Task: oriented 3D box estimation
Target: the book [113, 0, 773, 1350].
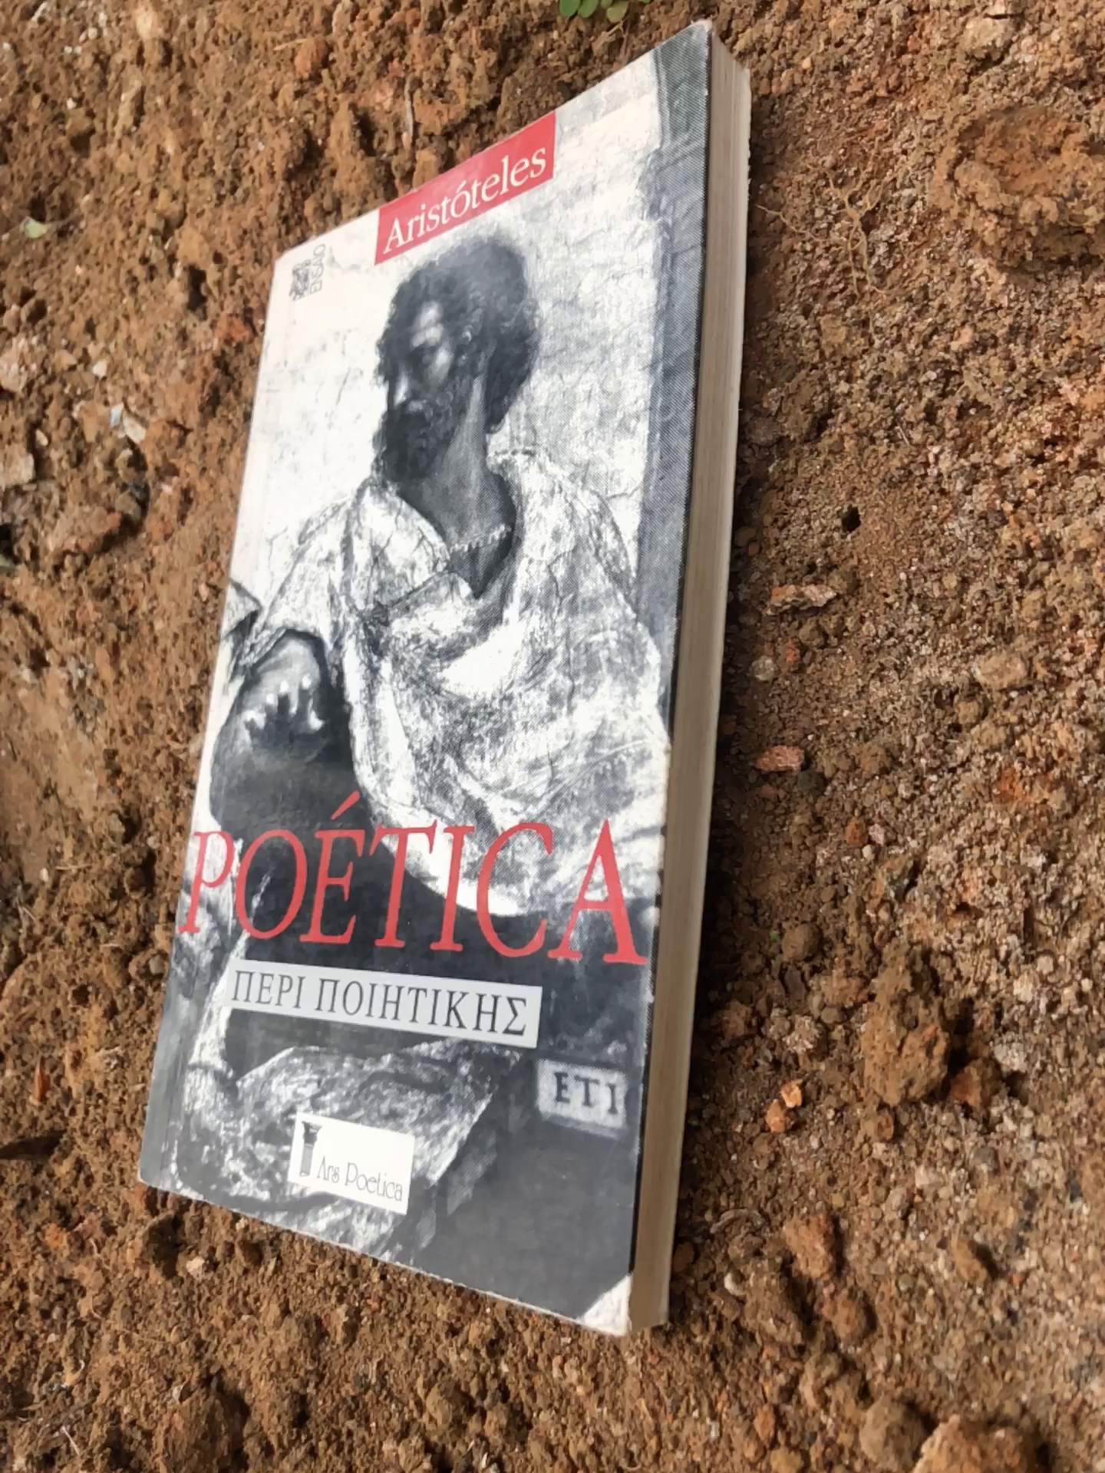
[{"bbox_3d":[-0.025,-0.013,0.216,0.131,0.015,0.189,-6,75,44],"label":"book"}]
